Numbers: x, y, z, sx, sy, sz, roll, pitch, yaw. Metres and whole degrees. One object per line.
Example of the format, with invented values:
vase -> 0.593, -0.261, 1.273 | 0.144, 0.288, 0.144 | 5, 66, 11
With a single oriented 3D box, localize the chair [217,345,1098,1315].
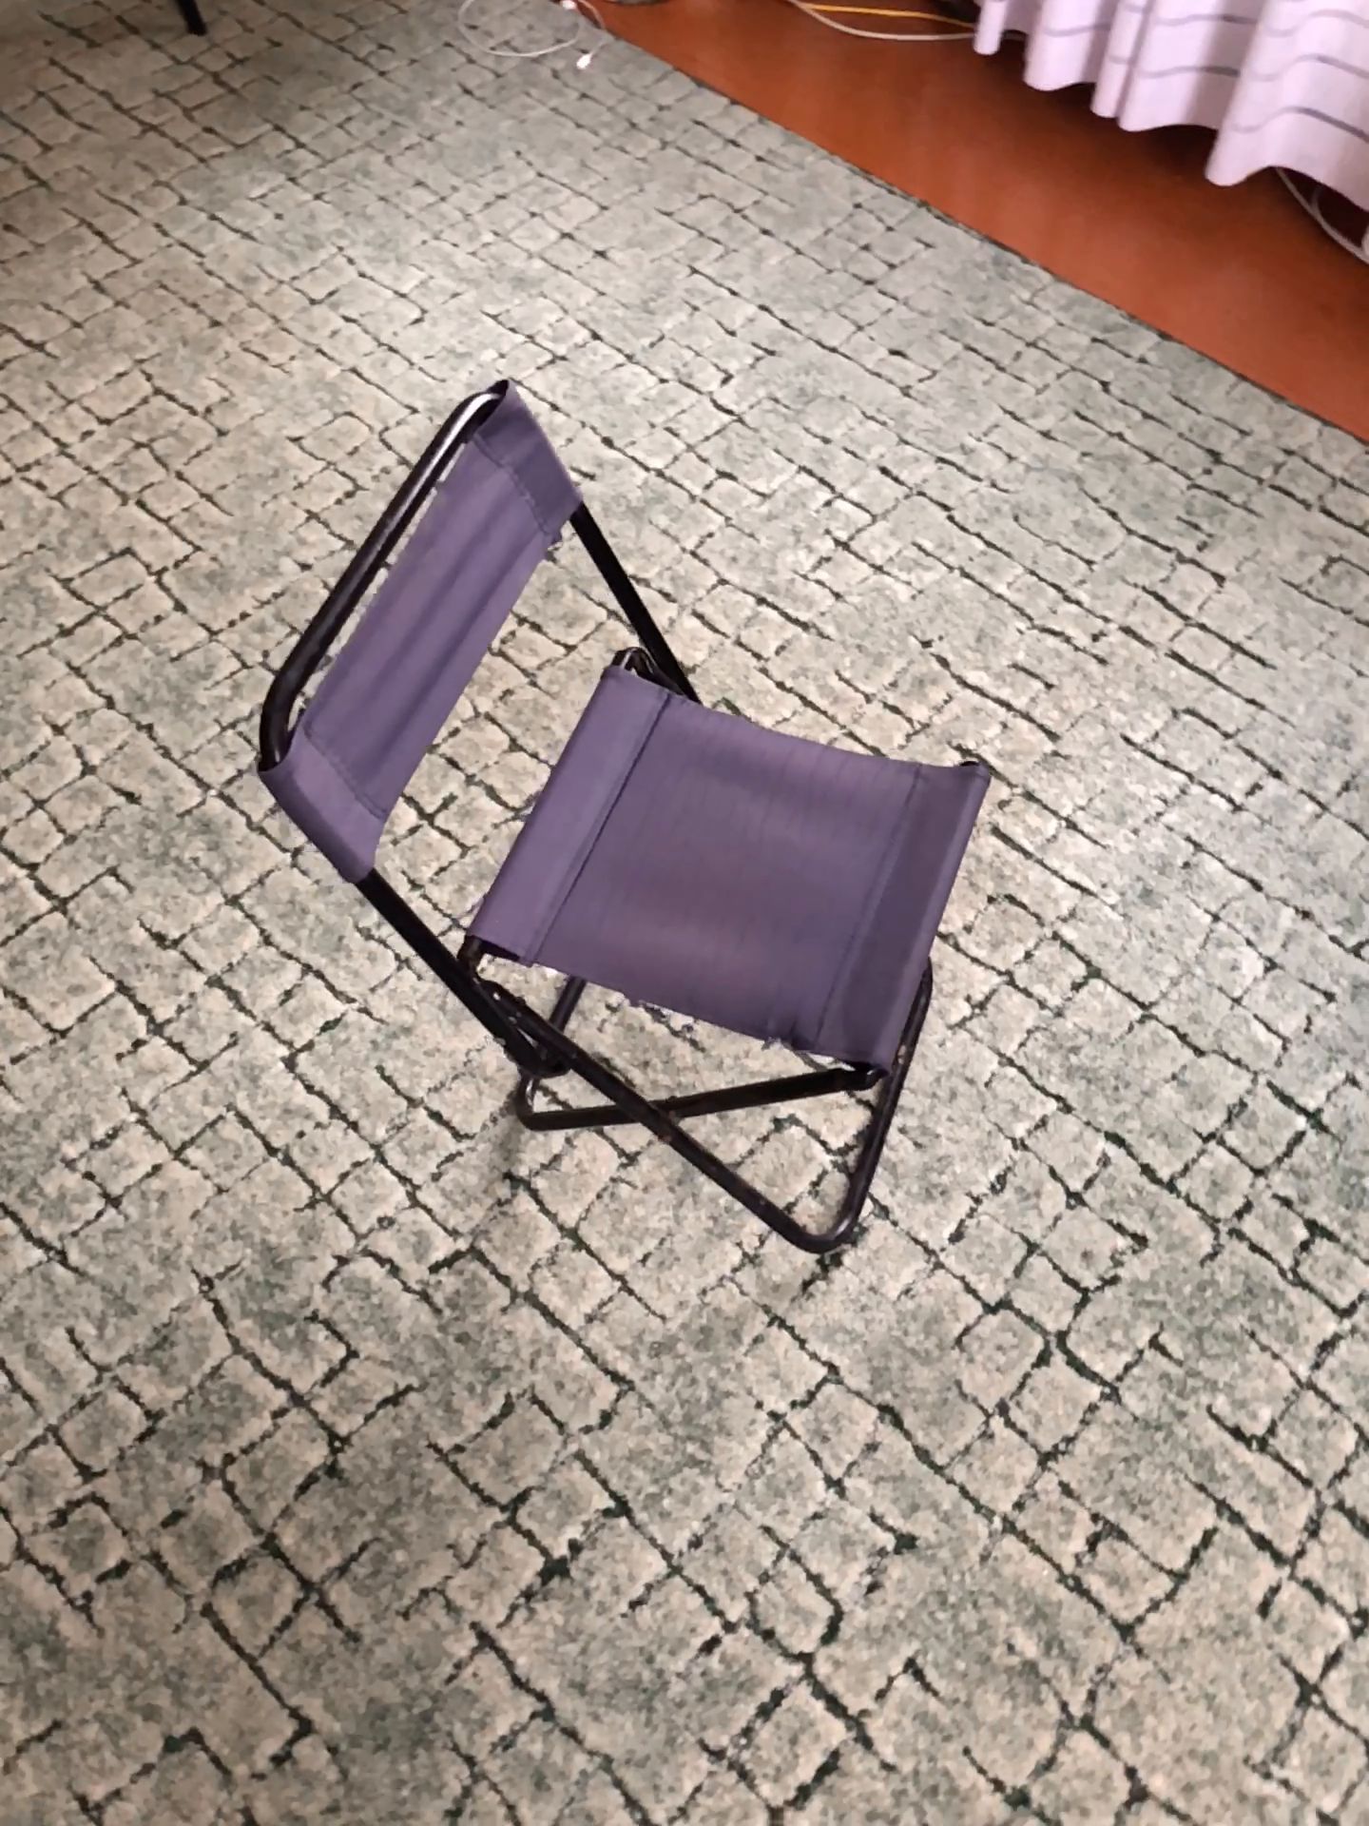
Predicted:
chair -> -0.005, -0.025, 1.064 | 0.398, 0.537, 0.343 | 18, 59, 10
